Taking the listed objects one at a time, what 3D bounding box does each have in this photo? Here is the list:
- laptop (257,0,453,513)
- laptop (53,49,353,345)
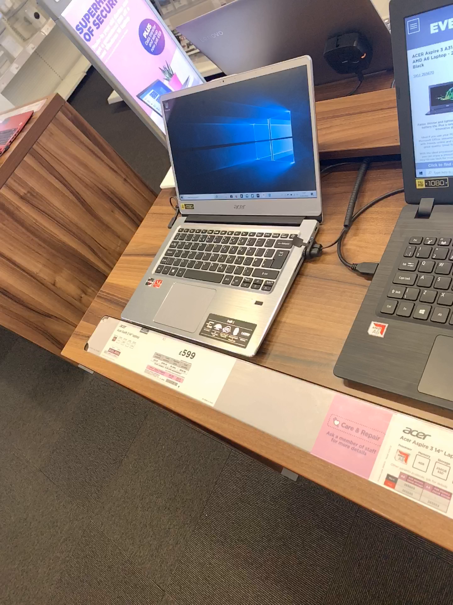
[{"bbox_3d":[0.283,-0.105,0.381,0.372,0.191,0.356,8,65,42],"label":"laptop"},{"bbox_3d":[-0.039,-0.157,0.711,0.309,0.153,0.359,11,67,44],"label":"laptop"}]
